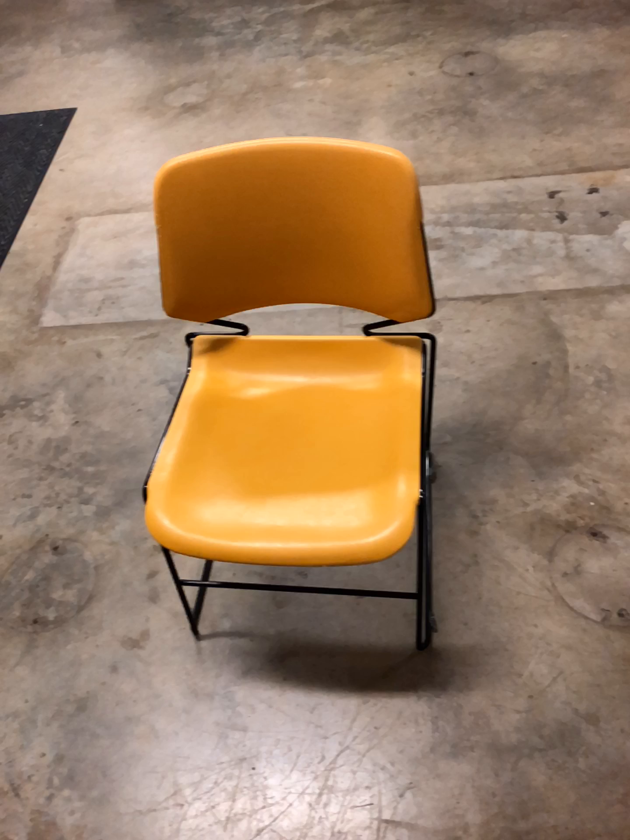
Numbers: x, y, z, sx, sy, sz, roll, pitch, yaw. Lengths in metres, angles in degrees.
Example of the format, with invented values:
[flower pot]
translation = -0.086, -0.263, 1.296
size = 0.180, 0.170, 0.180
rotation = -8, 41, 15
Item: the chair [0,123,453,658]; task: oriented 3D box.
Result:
[chair]
translation = -0.044, 0.001, 1.235
size = 0.529, 0.796, 0.526
rotation = 0, 50, 9
